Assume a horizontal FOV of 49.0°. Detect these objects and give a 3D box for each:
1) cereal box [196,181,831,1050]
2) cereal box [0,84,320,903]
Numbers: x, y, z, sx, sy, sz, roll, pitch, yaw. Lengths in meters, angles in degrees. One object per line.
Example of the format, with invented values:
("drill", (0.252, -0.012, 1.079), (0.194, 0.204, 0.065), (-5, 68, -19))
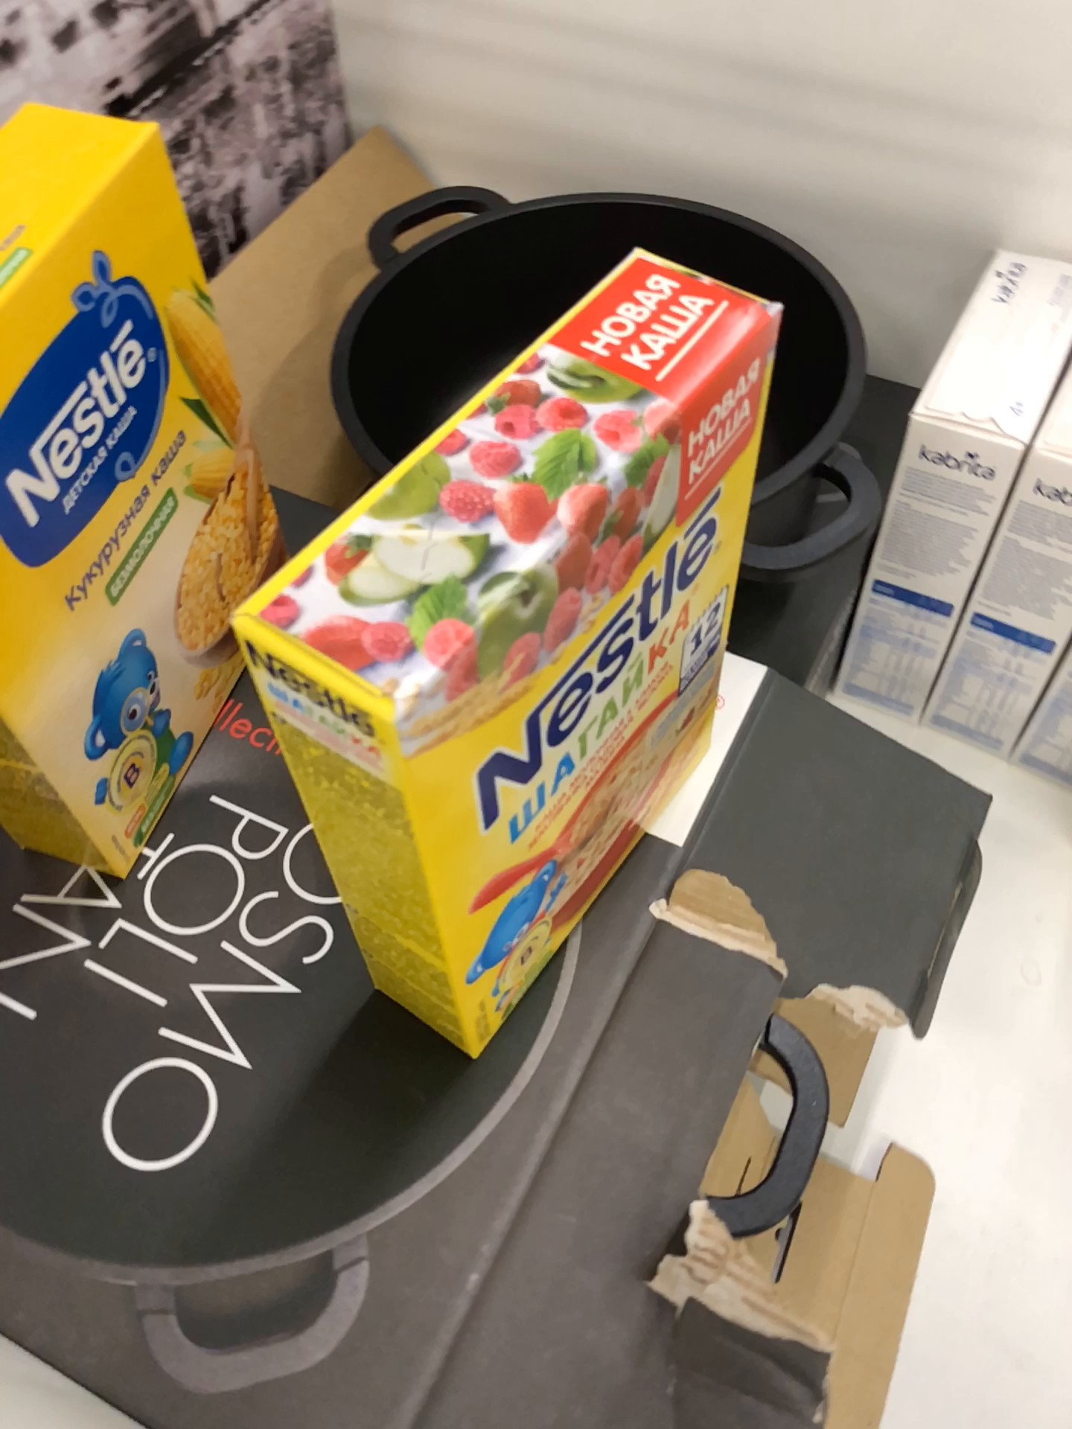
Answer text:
("cereal box", (0.007, -0.014, 0.339), (0.050, 0.199, 0.160), (31, 63, 22))
("cereal box", (-0.145, -0.058, 0.378), (0.050, 0.199, 0.161), (14, 58, 12))
